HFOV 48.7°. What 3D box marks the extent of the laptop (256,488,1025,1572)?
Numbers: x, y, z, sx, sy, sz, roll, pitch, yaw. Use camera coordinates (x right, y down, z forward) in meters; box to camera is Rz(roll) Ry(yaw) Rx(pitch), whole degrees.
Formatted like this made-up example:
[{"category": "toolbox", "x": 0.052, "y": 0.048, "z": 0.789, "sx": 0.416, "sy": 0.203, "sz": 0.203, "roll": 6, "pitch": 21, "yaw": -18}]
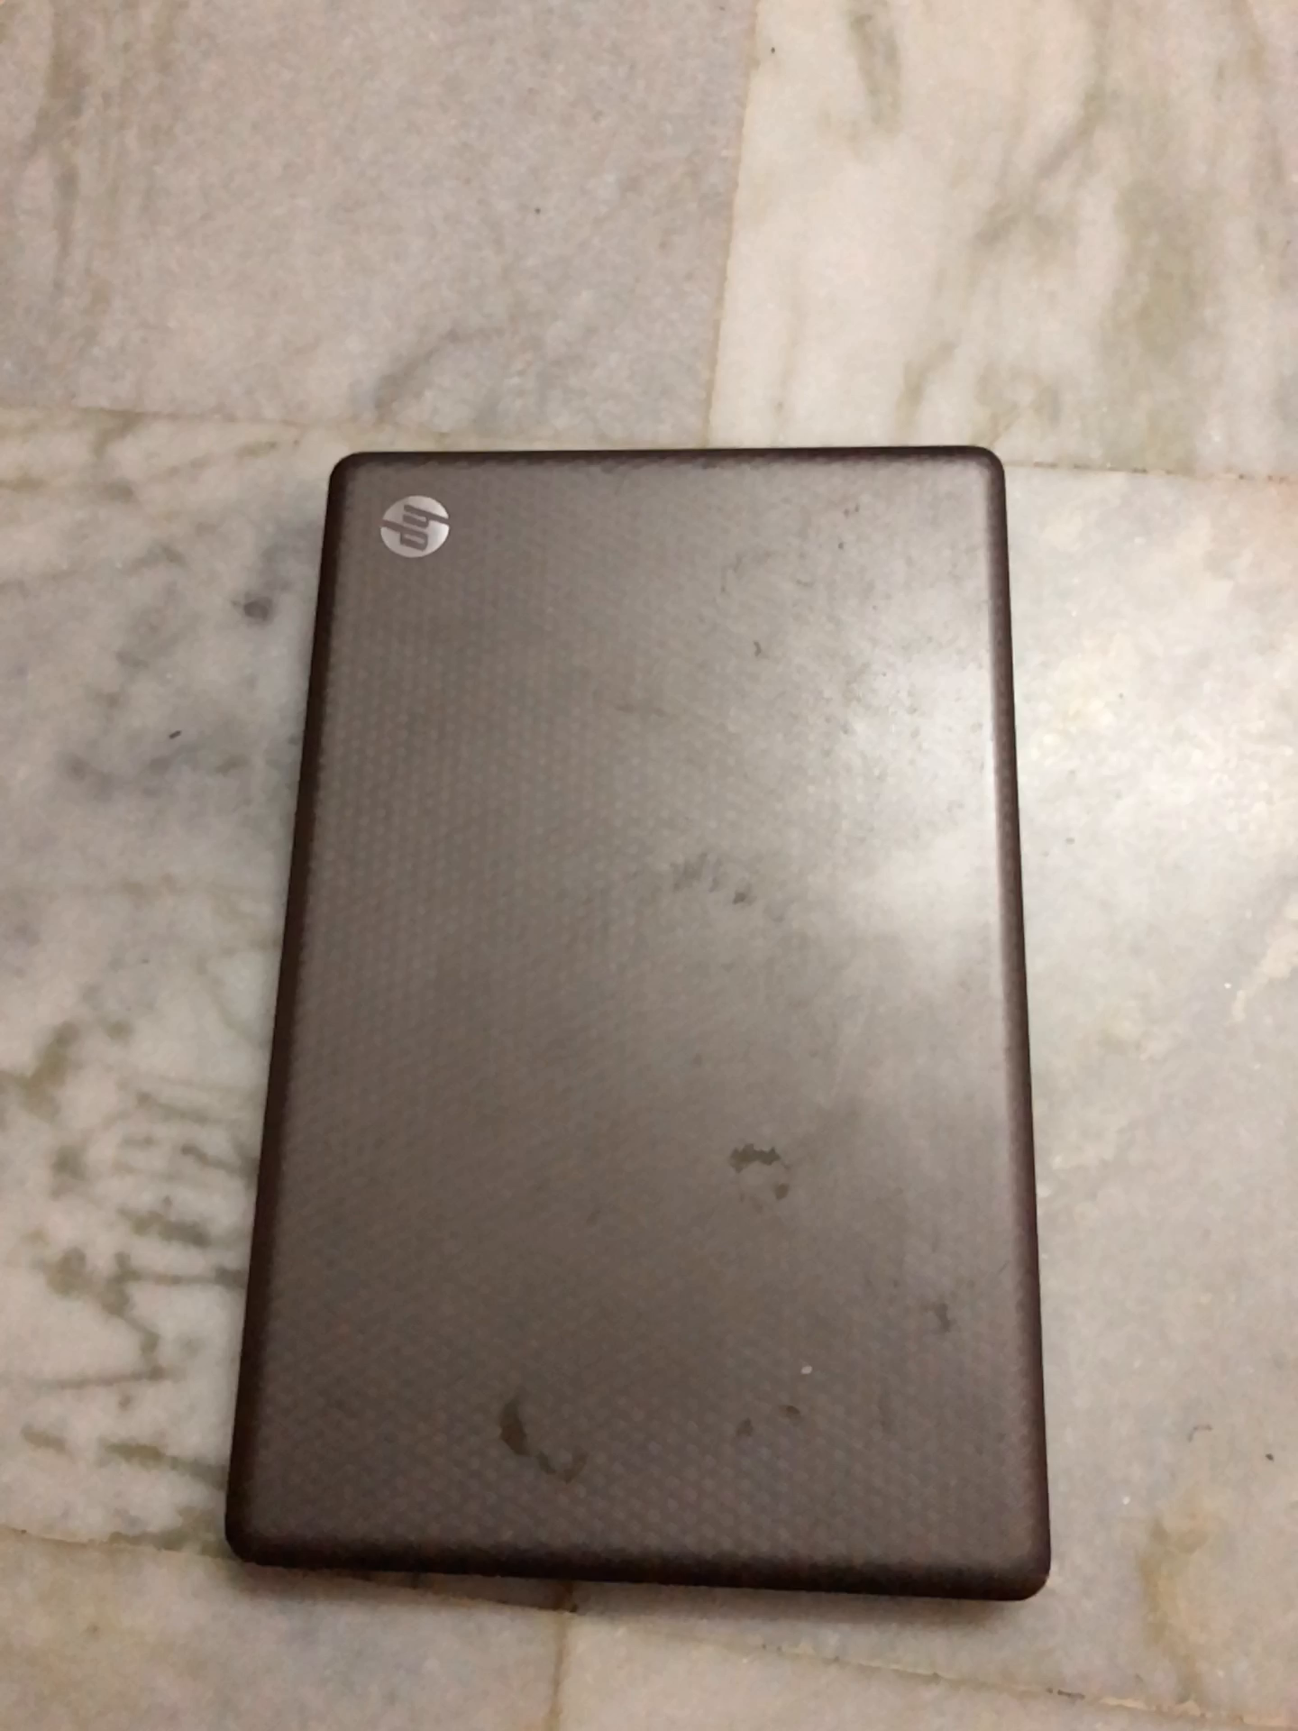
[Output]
[{"category": "laptop", "x": 0.002, "y": 0.038, "z": 0.510, "sx": 0.248, "sy": 0.002, "sz": 0.378, "roll": 1, "pitch": 75, "yaw": 5}]
